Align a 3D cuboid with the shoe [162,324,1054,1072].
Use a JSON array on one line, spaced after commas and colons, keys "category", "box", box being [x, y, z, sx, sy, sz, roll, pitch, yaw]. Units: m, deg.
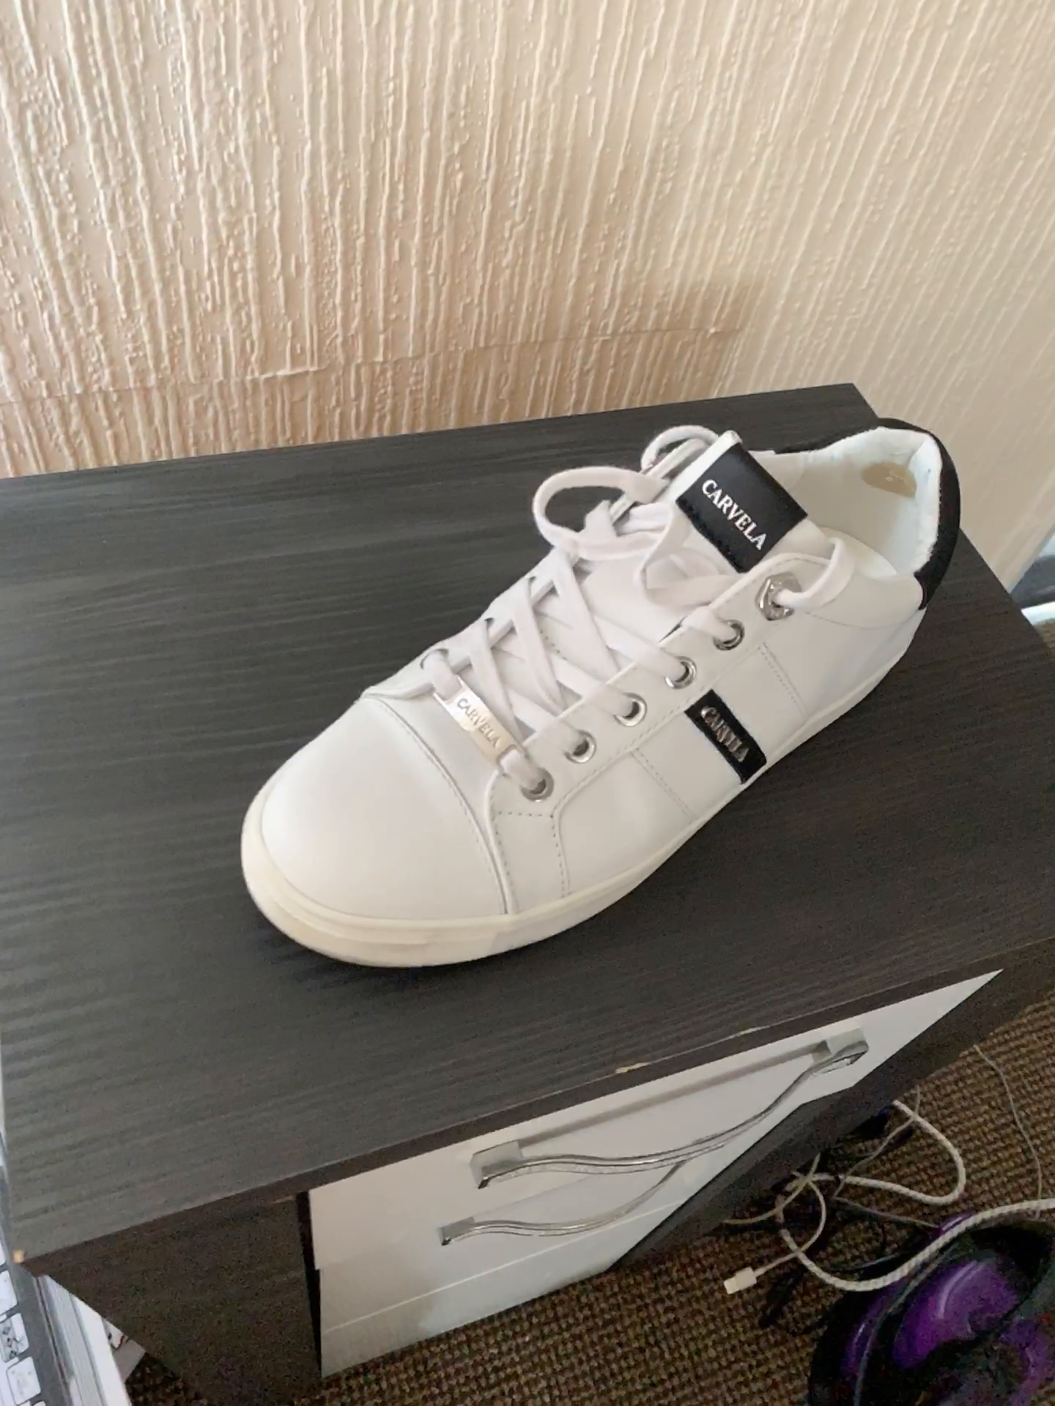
[{"category": "shoe", "box": [0.035, -0.018, 0.344, 0.261, 0.087, 0.104, -30, 64, -28]}]
